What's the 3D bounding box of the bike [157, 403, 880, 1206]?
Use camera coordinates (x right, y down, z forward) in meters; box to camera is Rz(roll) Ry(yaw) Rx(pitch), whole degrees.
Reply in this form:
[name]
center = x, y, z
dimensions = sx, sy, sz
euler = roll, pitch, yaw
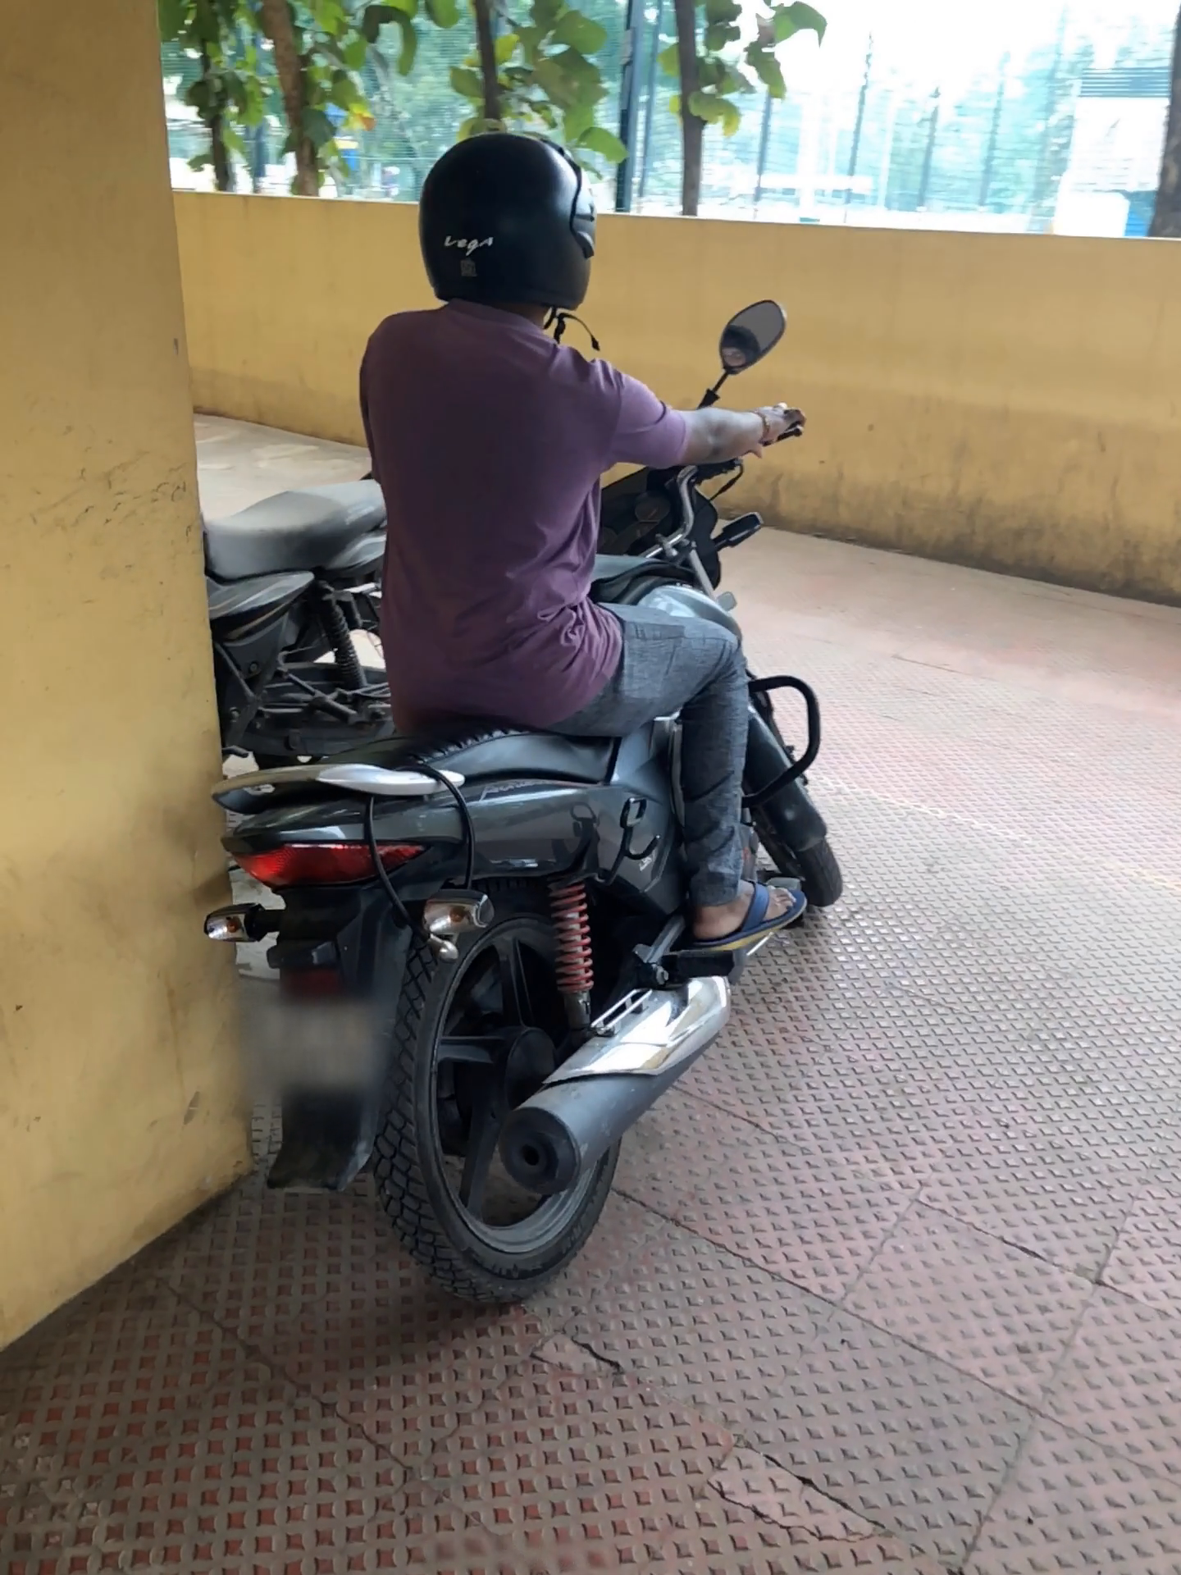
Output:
[bike]
center = -0.021, -0.109, 2.328
dimensions = 0.700, 1.000, 1.243
euler = 12, 24, 20
